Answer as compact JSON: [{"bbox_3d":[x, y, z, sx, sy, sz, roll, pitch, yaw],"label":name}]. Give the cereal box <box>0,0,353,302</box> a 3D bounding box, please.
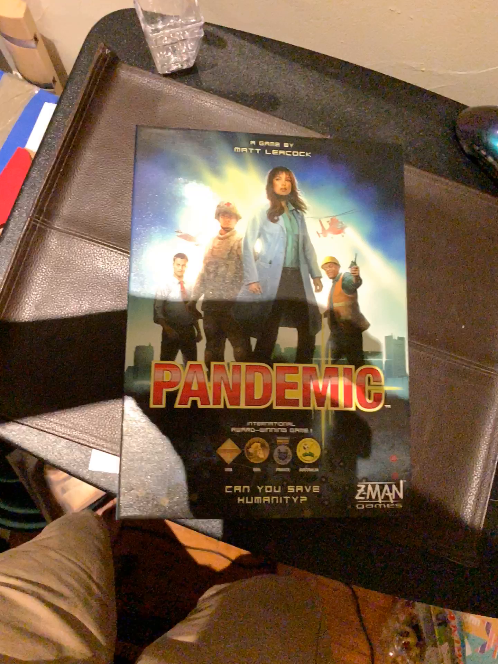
[{"bbox_3d":[-0.231,-0.492,1.185,0.470,1.000,0.510,-28,86,-8],"label":"cereal box"}]
